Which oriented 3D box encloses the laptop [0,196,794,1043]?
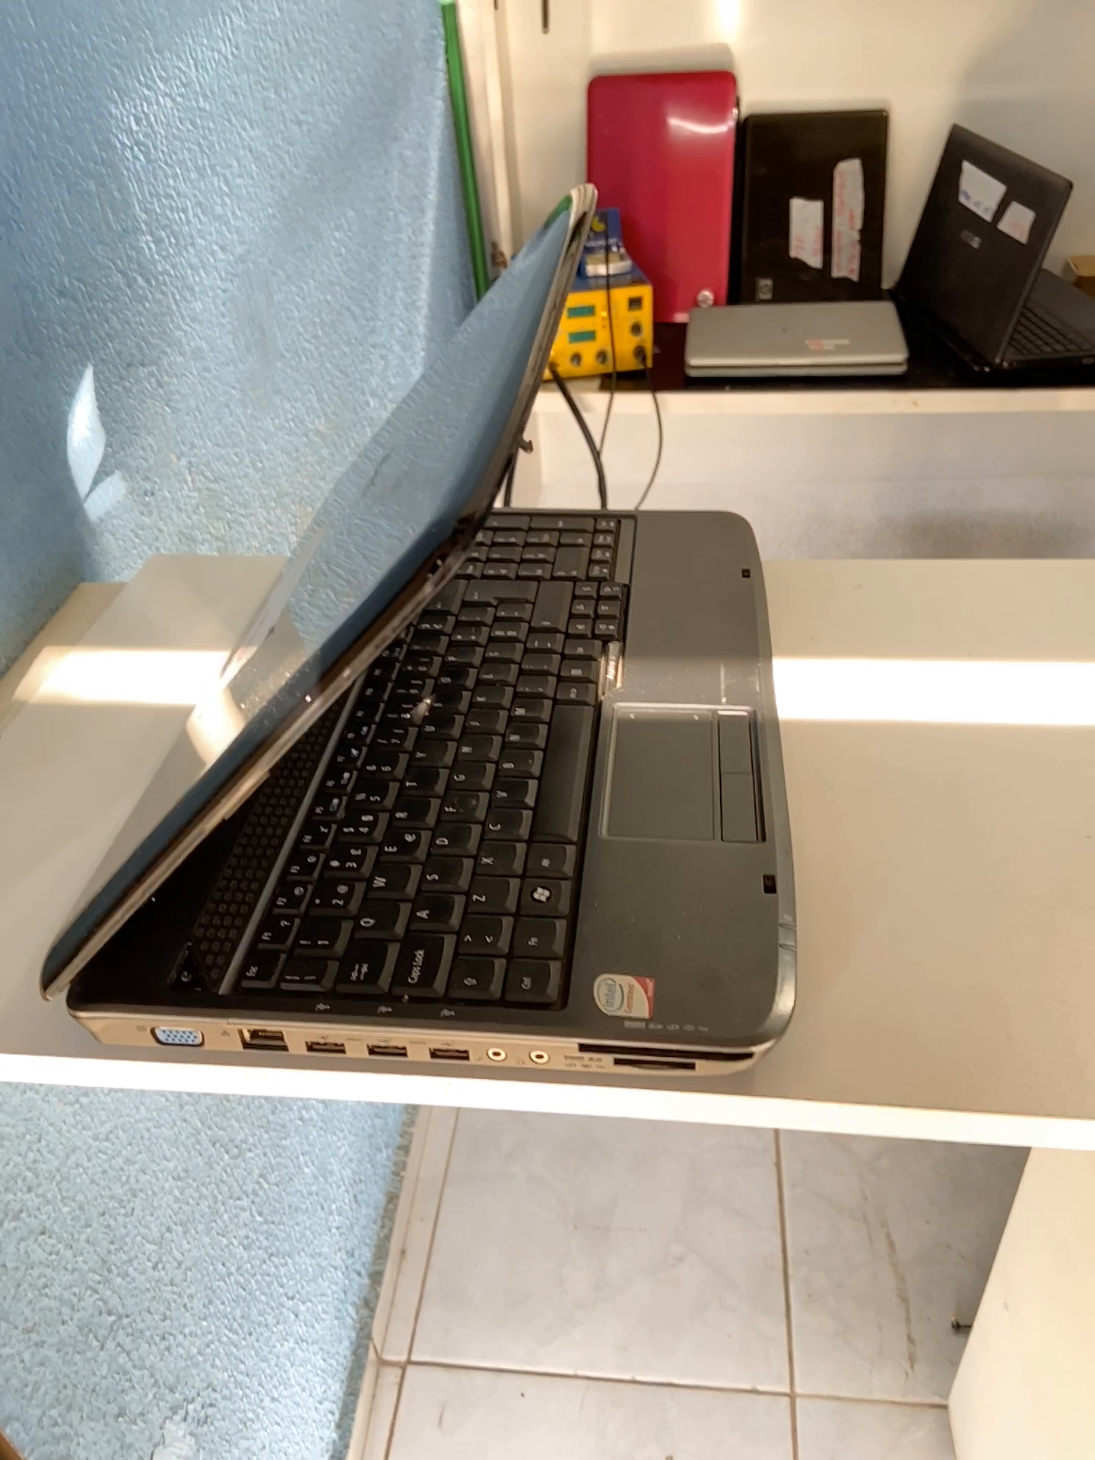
[{"bbox_3d":[-0.039,-0.086,0.470,0.235,0.174,0.380,0,35,7],"label":"laptop"}]
